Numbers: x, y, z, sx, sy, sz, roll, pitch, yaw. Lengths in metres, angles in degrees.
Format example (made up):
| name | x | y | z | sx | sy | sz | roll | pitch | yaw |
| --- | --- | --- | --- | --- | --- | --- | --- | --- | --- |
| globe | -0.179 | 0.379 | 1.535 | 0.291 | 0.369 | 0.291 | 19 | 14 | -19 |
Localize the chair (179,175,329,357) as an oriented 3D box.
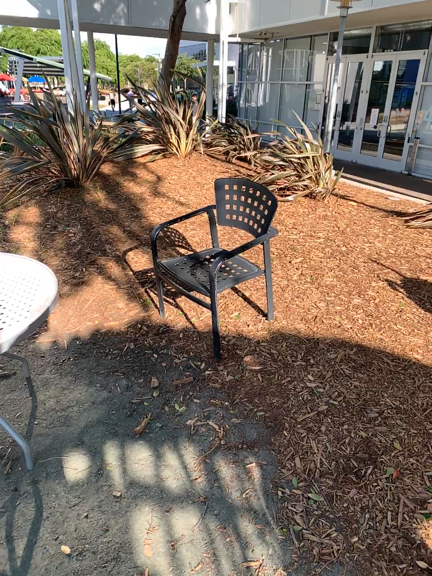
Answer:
| name | x | y | z | sx | sy | sz | roll | pitch | yaw |
| --- | --- | --- | --- | --- | --- | --- | --- | --- | --- |
| chair | 0.163 | -0.152 | 2.248 | 0.501 | 0.716 | 0.522 | -16 | 30 | -36 |
